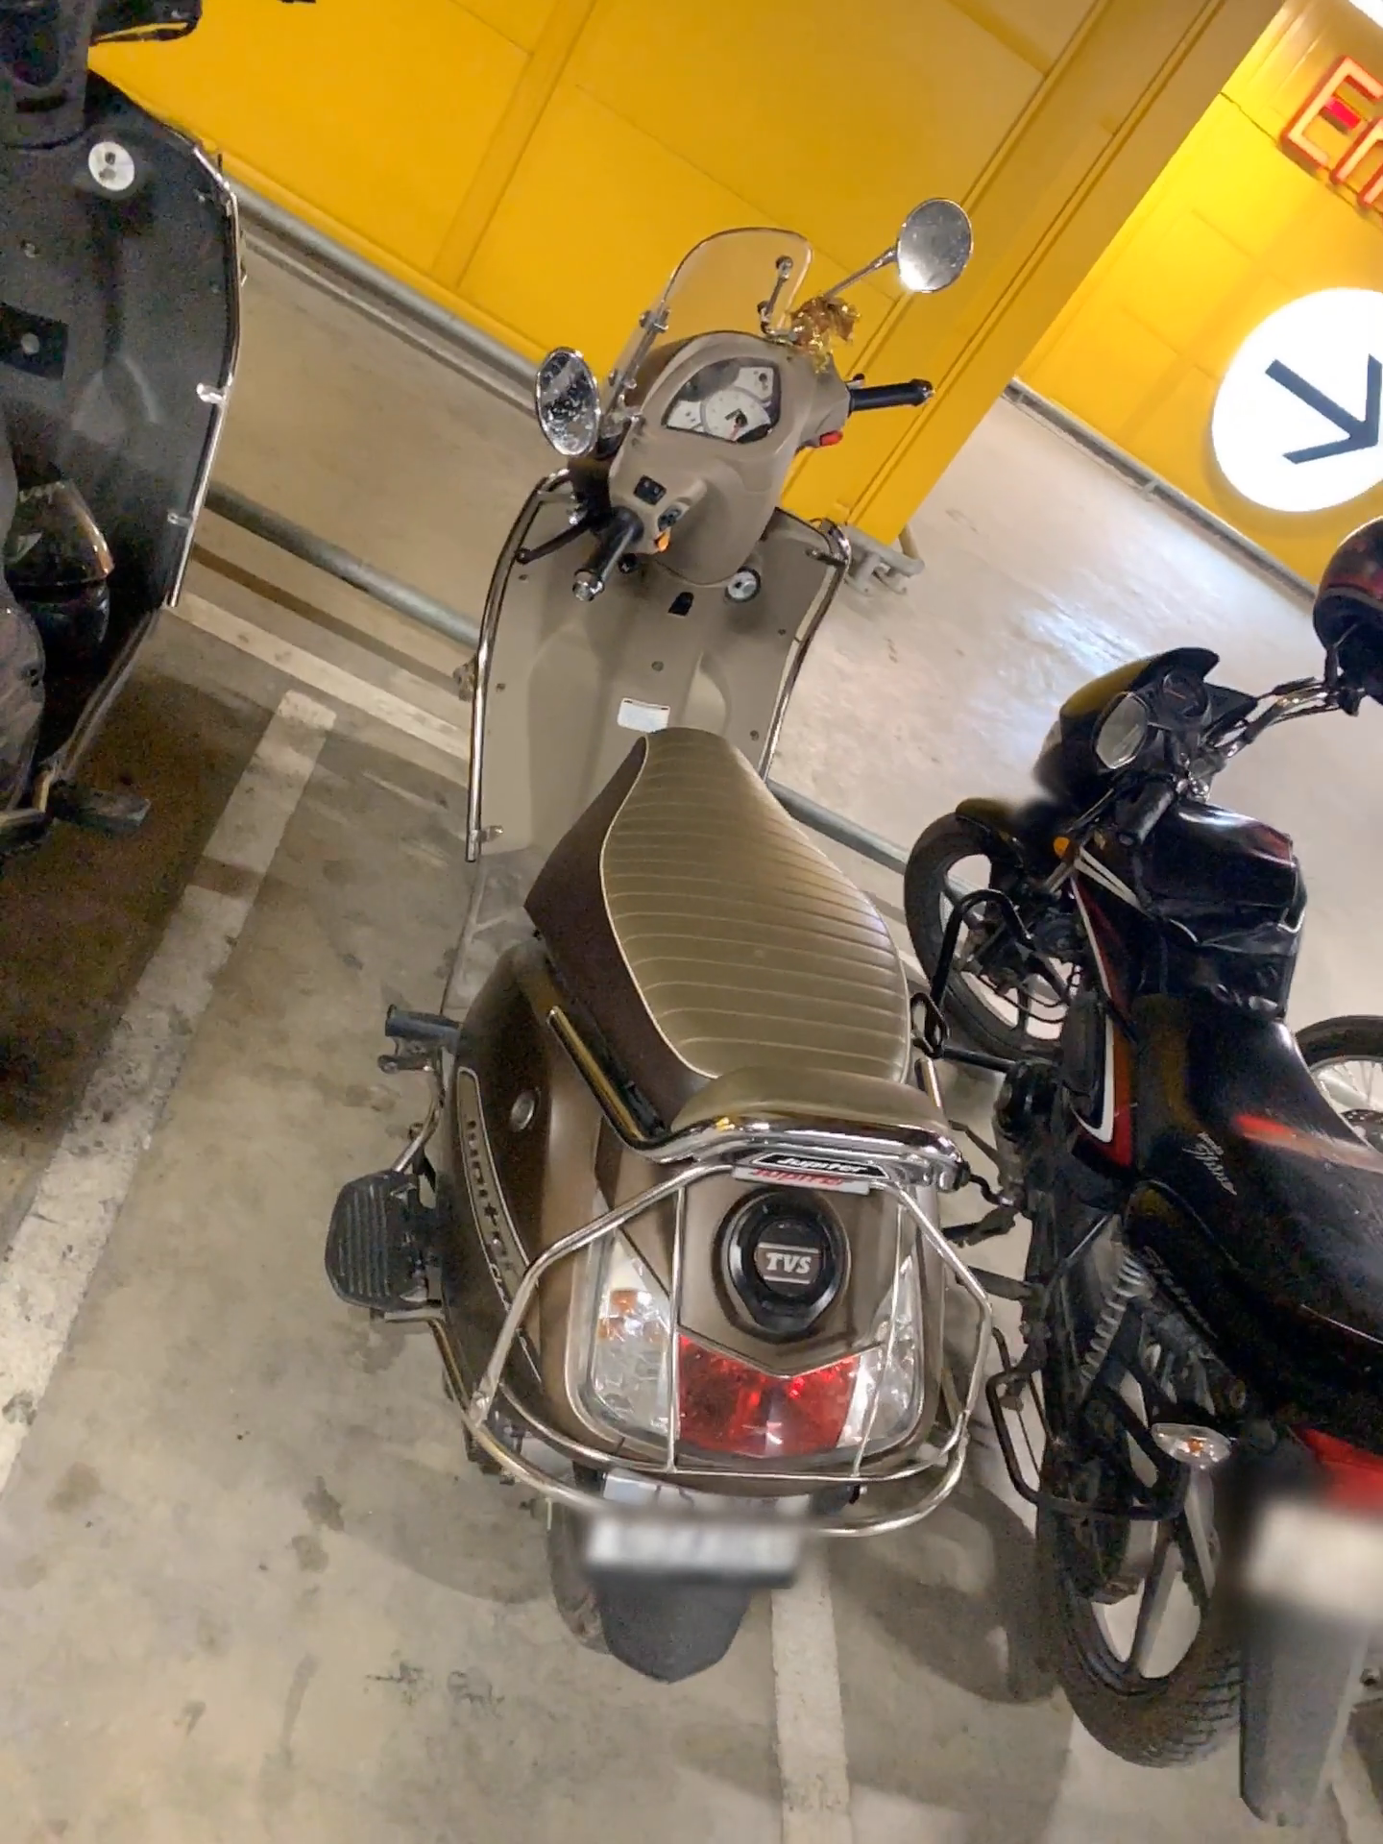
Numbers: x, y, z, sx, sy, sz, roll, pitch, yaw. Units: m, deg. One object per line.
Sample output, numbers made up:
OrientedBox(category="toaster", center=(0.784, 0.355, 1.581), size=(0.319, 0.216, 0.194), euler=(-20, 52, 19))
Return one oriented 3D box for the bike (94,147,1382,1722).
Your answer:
OrientedBox(category="bike", center=(-0.153, -0.090, 1.672), size=(0.604, 1.027, 1.560), euler=(19, 33, -28))
